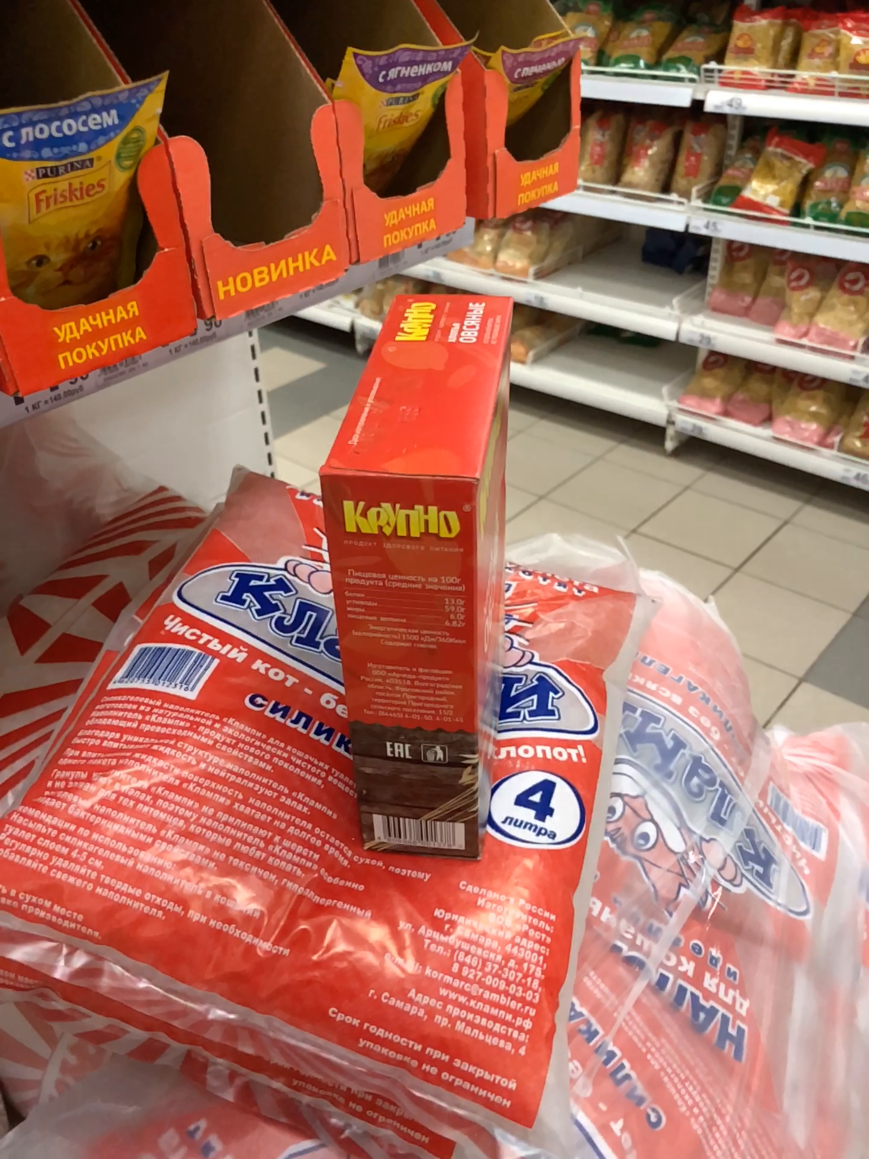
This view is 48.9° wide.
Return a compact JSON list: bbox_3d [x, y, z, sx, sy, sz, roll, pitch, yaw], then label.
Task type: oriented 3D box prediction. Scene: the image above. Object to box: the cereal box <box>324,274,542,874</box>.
[{"bbox_3d":[0.008,-0.004,0.403,0.060,0.199,0.151,4,37,6],"label":"cereal box"}]
